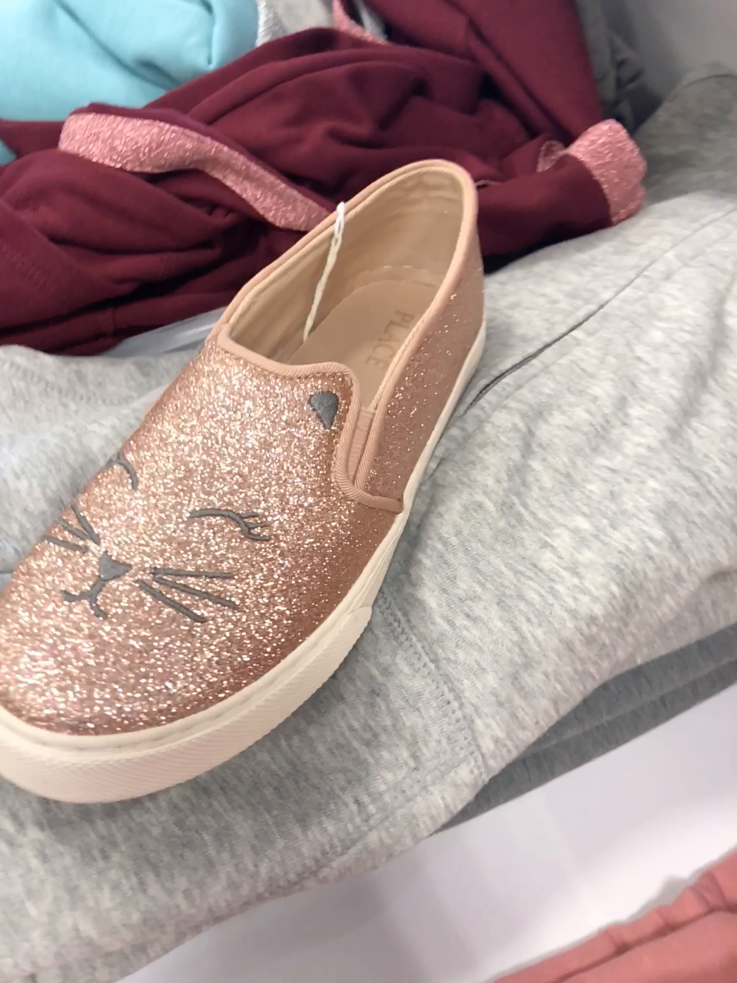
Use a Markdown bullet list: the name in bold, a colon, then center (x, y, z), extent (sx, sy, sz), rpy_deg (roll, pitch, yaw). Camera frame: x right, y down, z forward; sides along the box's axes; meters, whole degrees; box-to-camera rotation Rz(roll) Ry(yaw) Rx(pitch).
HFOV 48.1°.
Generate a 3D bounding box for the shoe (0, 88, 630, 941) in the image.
- **shoe**: center (-0.018, -0.015, 0.229), extent (0.090, 0.080, 0.221), rpy_deg (28, 54, 13)
